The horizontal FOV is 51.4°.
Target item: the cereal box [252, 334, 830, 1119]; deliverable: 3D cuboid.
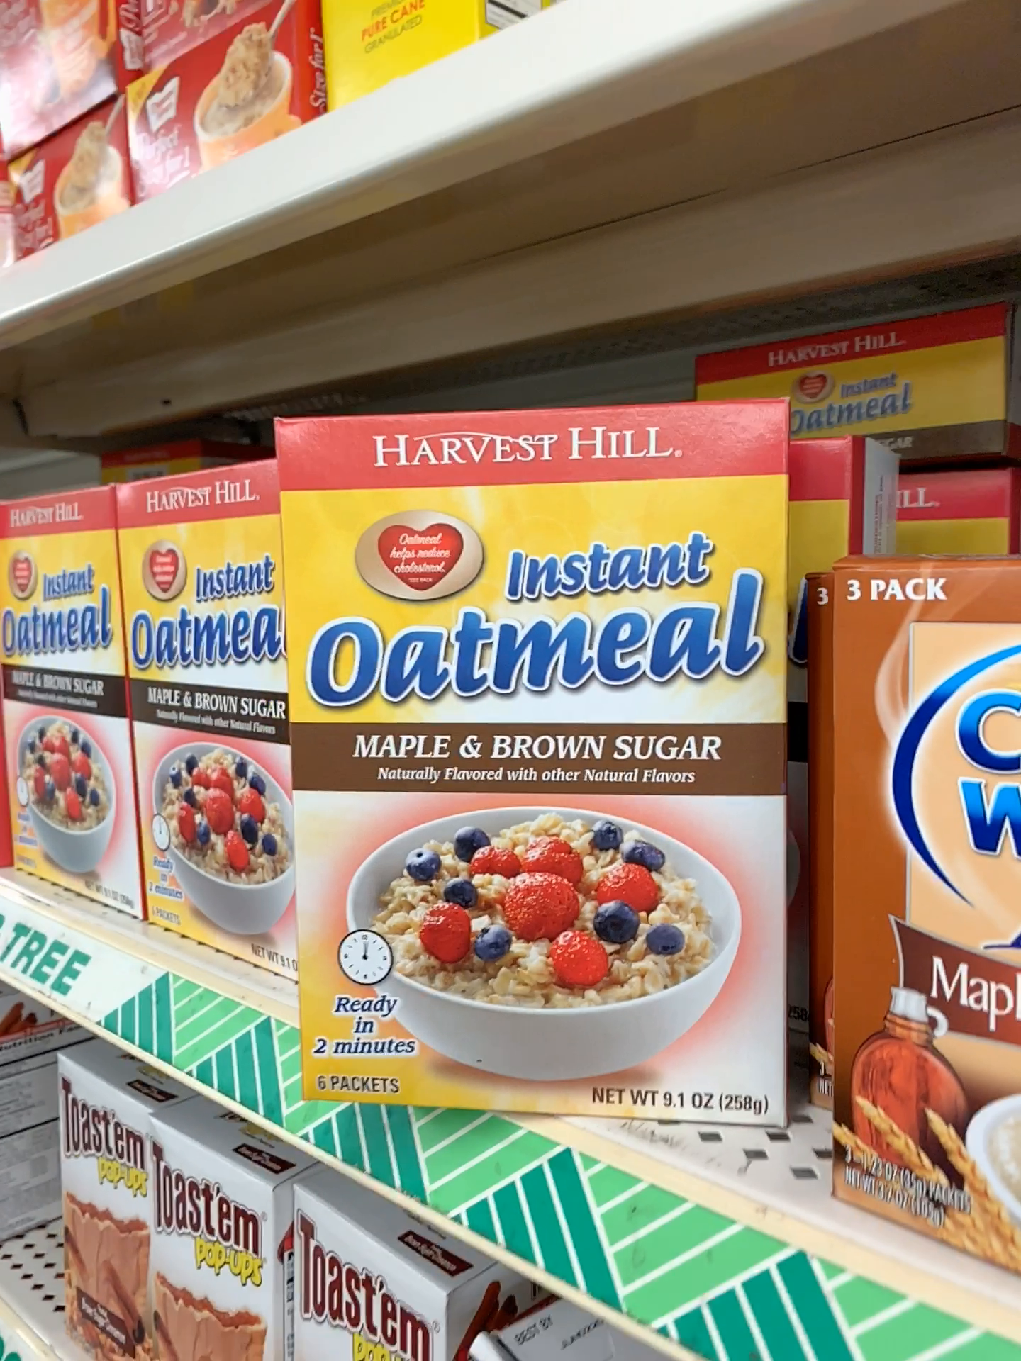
[{"bbox_3d":[0.009,0.011,0.271,0.130,0.180,0.050,-1,5,4],"label":"cereal box"}]
